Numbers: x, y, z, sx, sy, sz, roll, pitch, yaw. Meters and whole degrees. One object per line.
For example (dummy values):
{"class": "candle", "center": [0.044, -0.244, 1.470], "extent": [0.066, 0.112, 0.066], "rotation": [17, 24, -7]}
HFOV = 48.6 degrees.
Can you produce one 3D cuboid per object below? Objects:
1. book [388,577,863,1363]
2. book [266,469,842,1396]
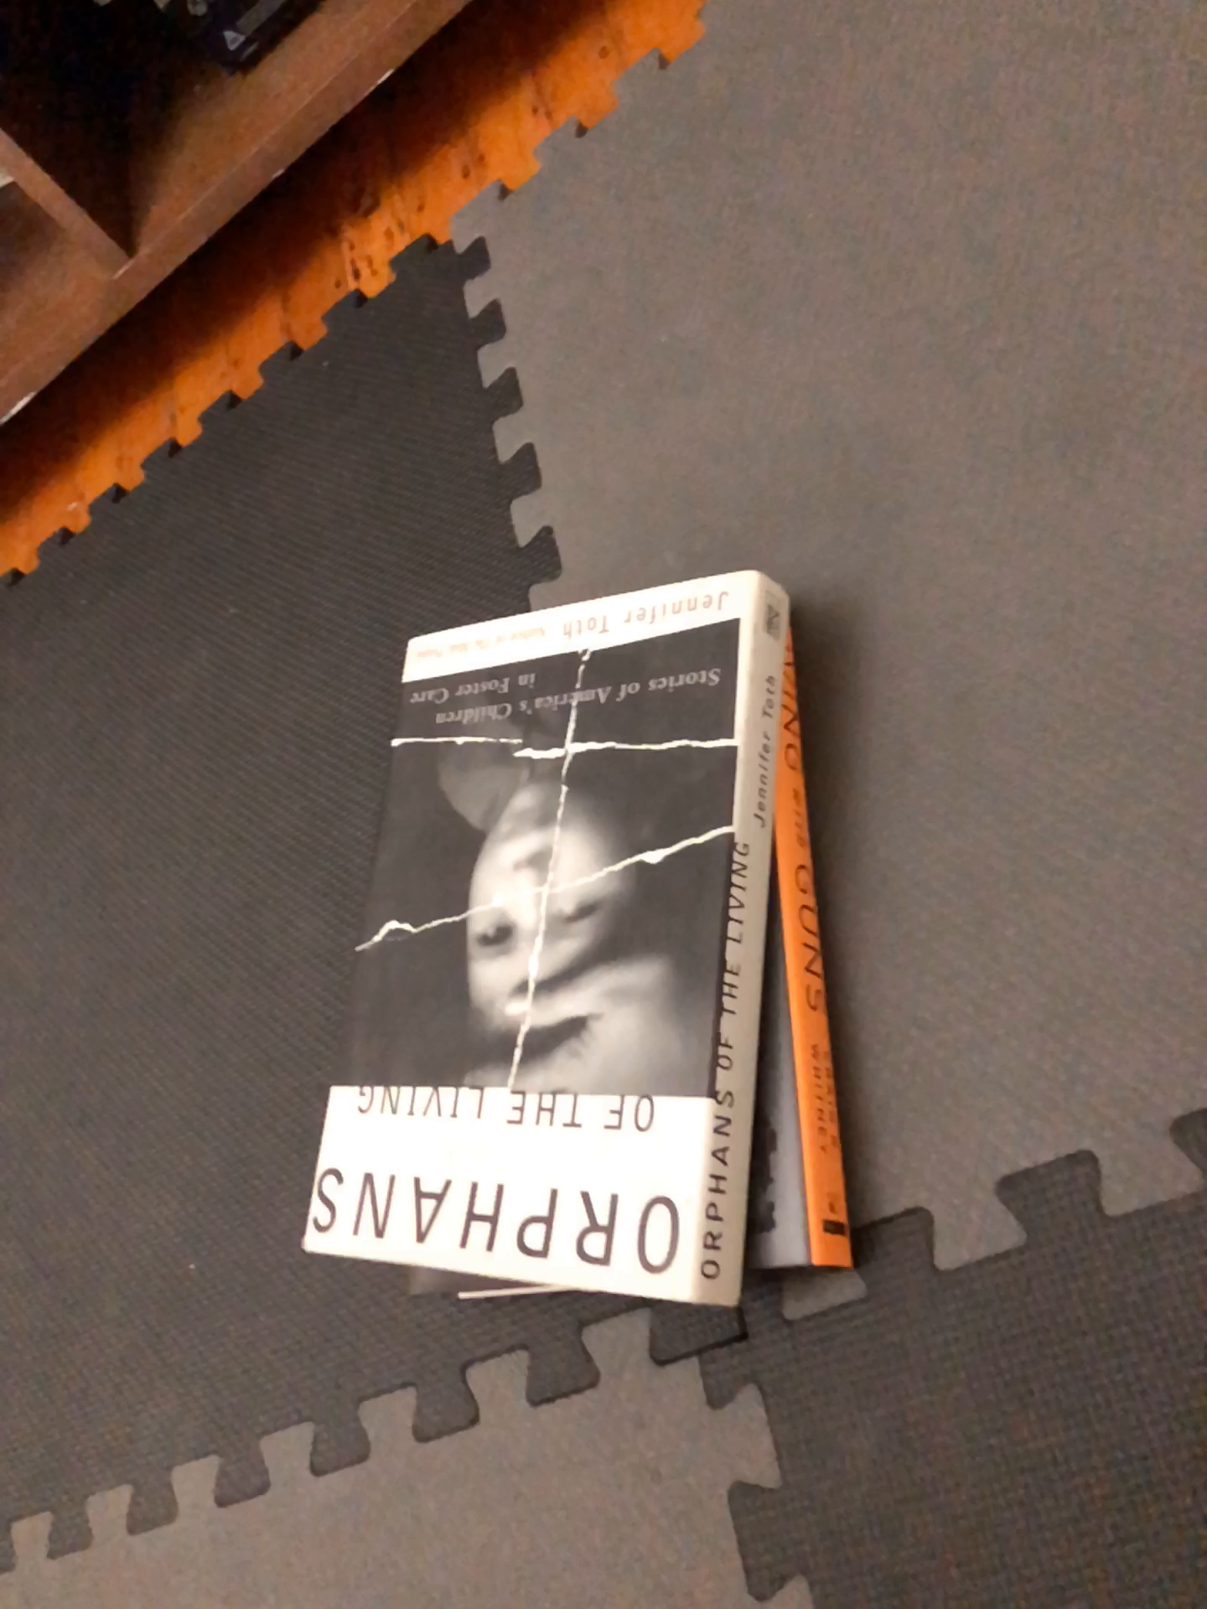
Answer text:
{"class": "book", "center": [-0.003, 0.058, 0.474], "extent": [0.160, 0.030, 0.251], "rotation": [-18, 61, 30]}
{"class": "book", "center": [-0.016, 0.035, 0.455], "extent": [0.180, 0.030, 0.281], "rotation": [-7, 67, 35]}
